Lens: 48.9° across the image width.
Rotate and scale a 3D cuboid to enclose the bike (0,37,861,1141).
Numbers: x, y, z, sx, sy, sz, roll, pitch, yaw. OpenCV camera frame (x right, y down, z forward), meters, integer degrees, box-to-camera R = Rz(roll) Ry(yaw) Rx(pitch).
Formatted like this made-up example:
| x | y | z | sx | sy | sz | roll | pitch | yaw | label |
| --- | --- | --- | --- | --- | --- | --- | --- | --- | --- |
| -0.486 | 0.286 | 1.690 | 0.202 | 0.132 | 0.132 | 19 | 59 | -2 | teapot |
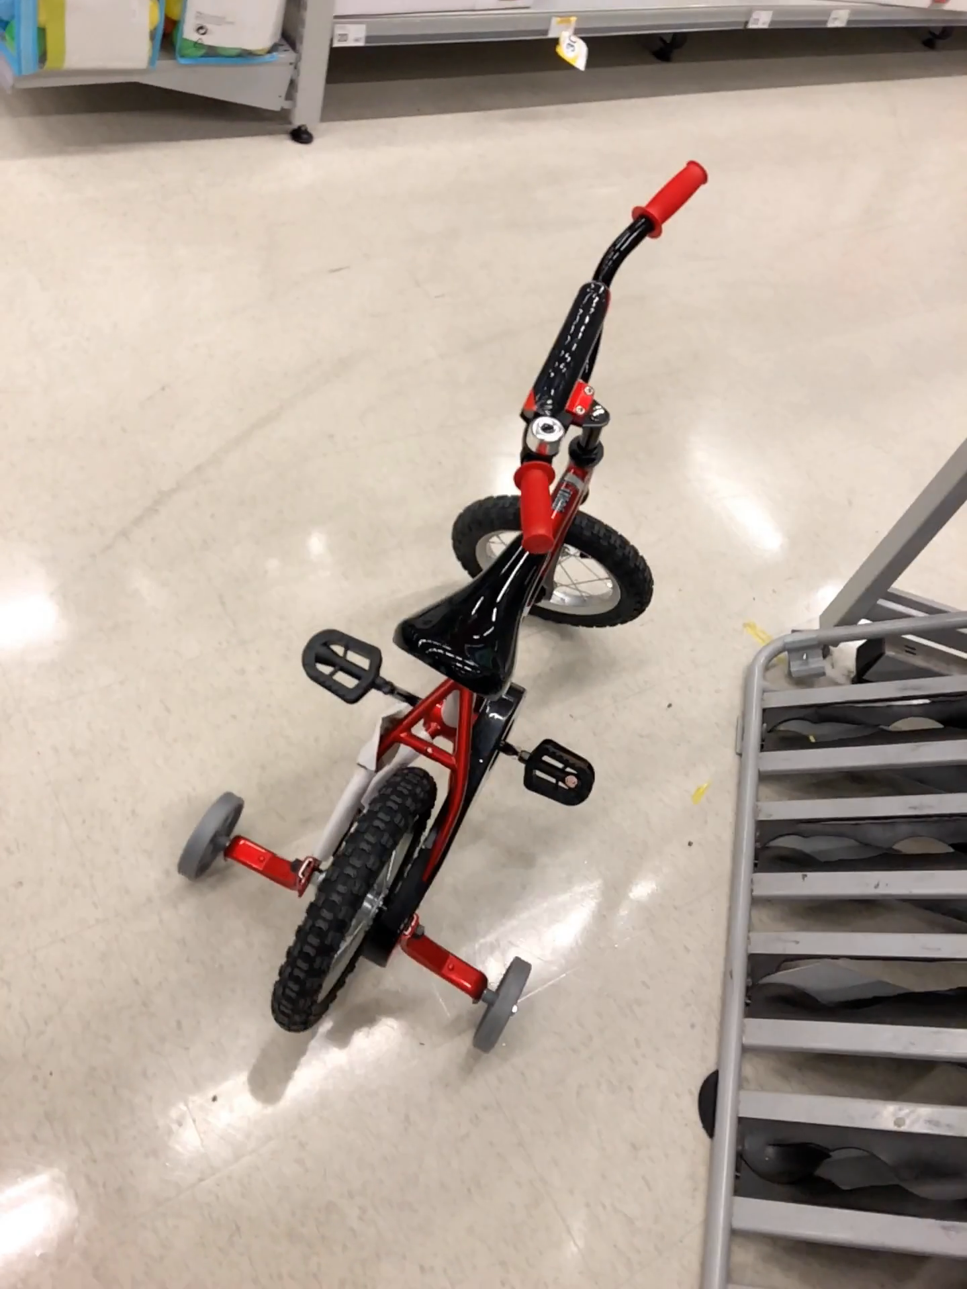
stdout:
| x | y | z | sx | sy | sz | roll | pitch | yaw | label |
| --- | --- | --- | --- | --- | --- | --- | --- | --- | --- |
| -0.041 | -0.033 | 1.089 | 0.531 | 0.679 | 0.701 | 21 | 51 | -2 | bike |
